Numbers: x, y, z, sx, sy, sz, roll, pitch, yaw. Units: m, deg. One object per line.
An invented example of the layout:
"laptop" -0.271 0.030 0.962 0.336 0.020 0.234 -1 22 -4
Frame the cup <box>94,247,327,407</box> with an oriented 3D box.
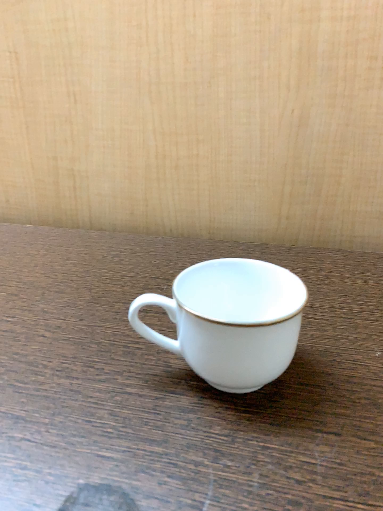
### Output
"cup" 0.007 0.031 0.191 0.090 0.050 0.060 0 23 1
